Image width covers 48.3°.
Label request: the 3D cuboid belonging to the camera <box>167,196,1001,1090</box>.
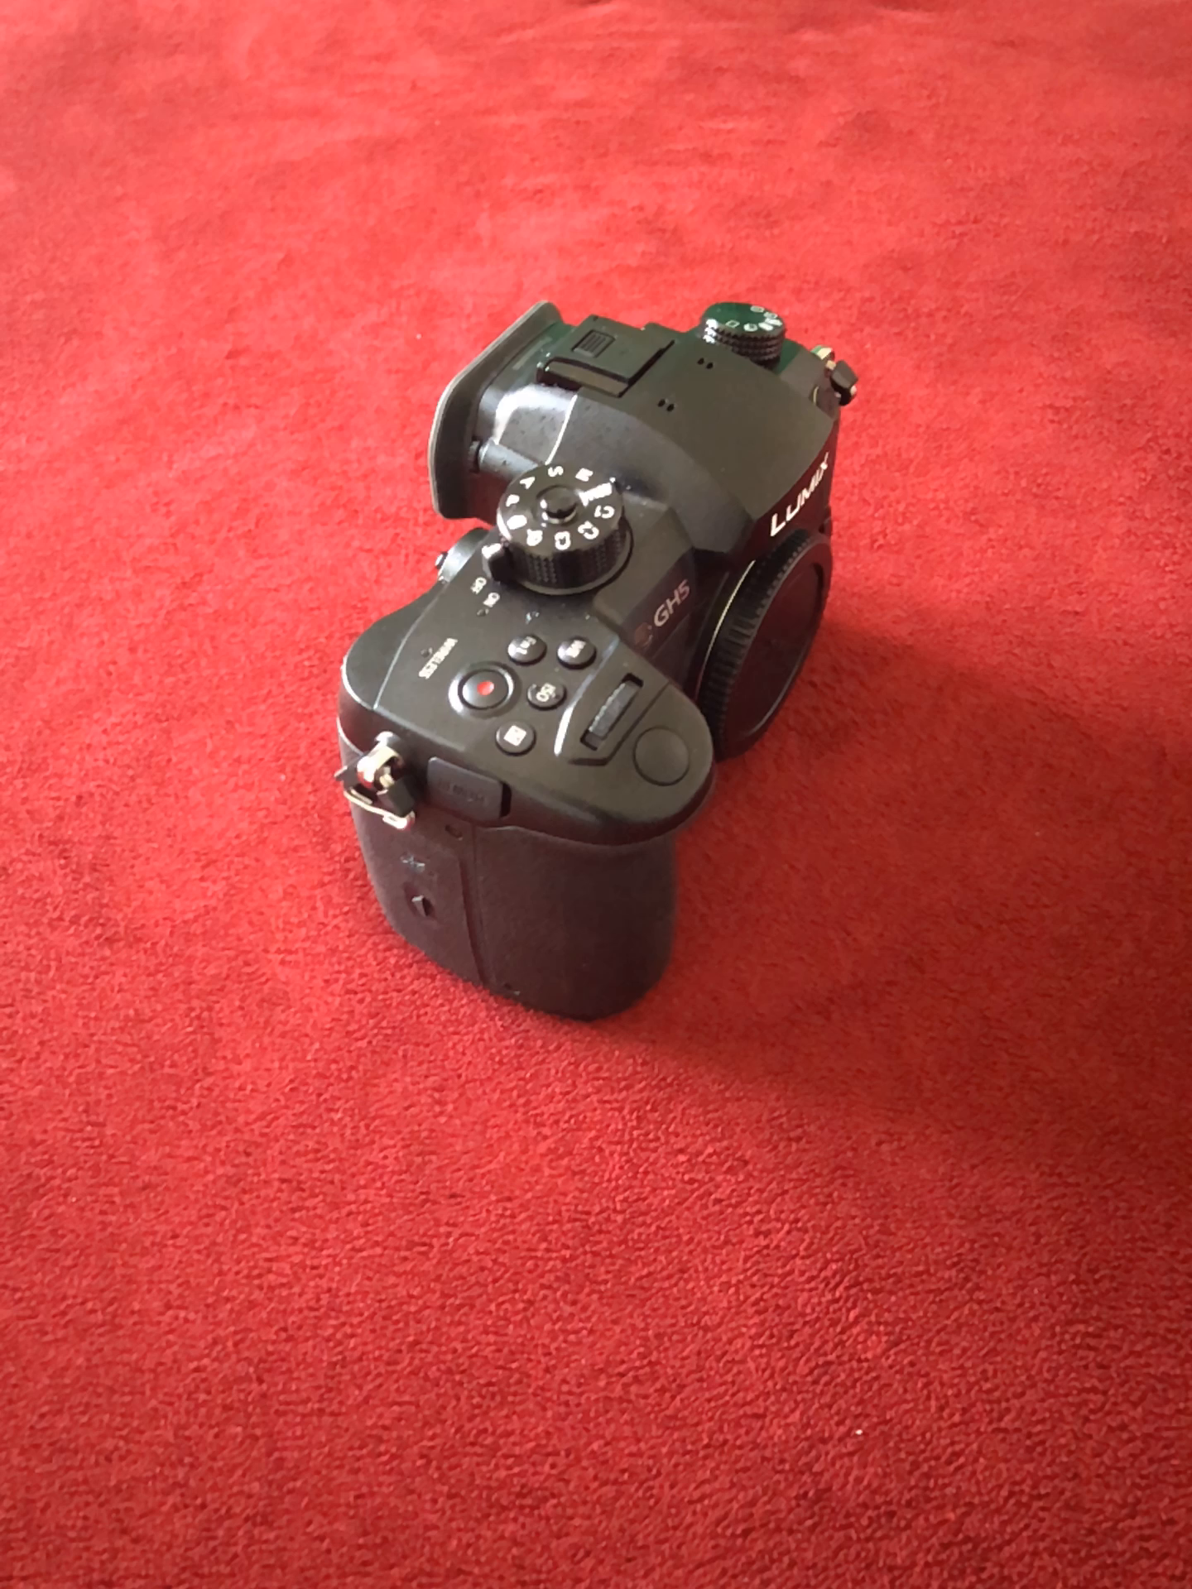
[{"bbox_3d":[0.006,-0.037,0.274,0.085,0.087,0.148,26,57,19],"label":"camera"}]
